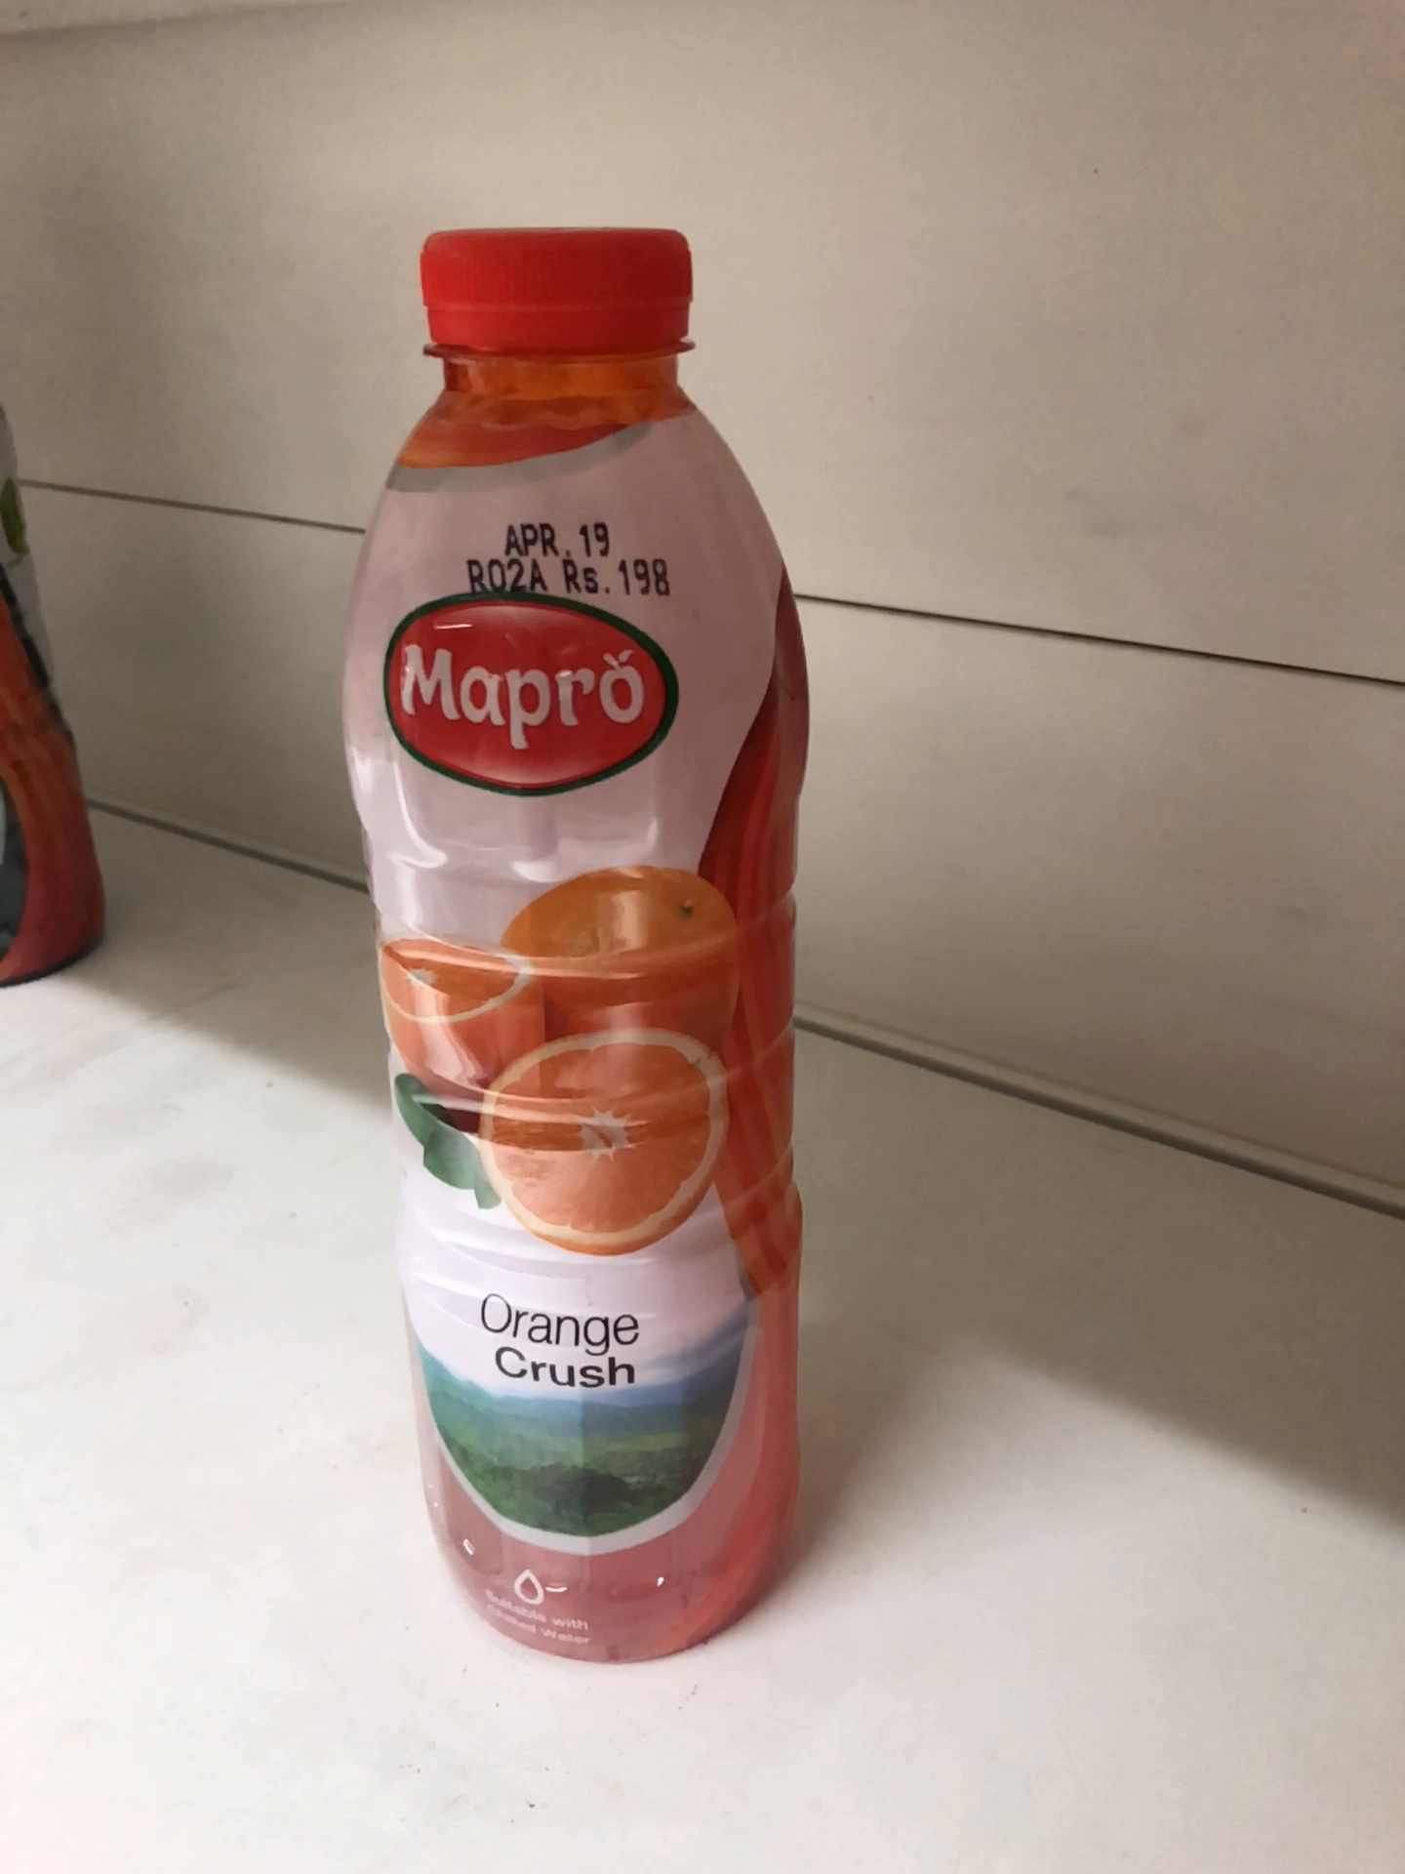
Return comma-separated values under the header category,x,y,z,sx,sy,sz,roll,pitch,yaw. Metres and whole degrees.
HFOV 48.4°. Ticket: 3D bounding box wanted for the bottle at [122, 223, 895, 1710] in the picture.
category,x,y,z,sx,sy,sz,roll,pitch,yaw
bottle,-0.021,0.008,0.271,0.090,0.239,0.080,4,25,9
